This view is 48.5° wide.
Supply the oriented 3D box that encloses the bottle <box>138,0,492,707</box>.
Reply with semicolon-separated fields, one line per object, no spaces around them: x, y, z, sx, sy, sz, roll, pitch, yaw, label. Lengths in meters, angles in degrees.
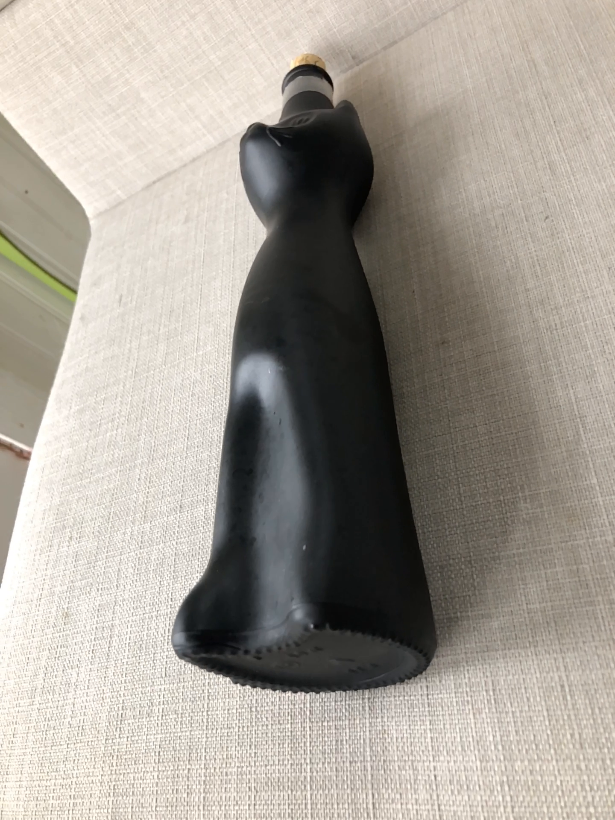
-0.001;-0.051;0.291;0.077;0.079;0.312;-20;53;24;bottle
